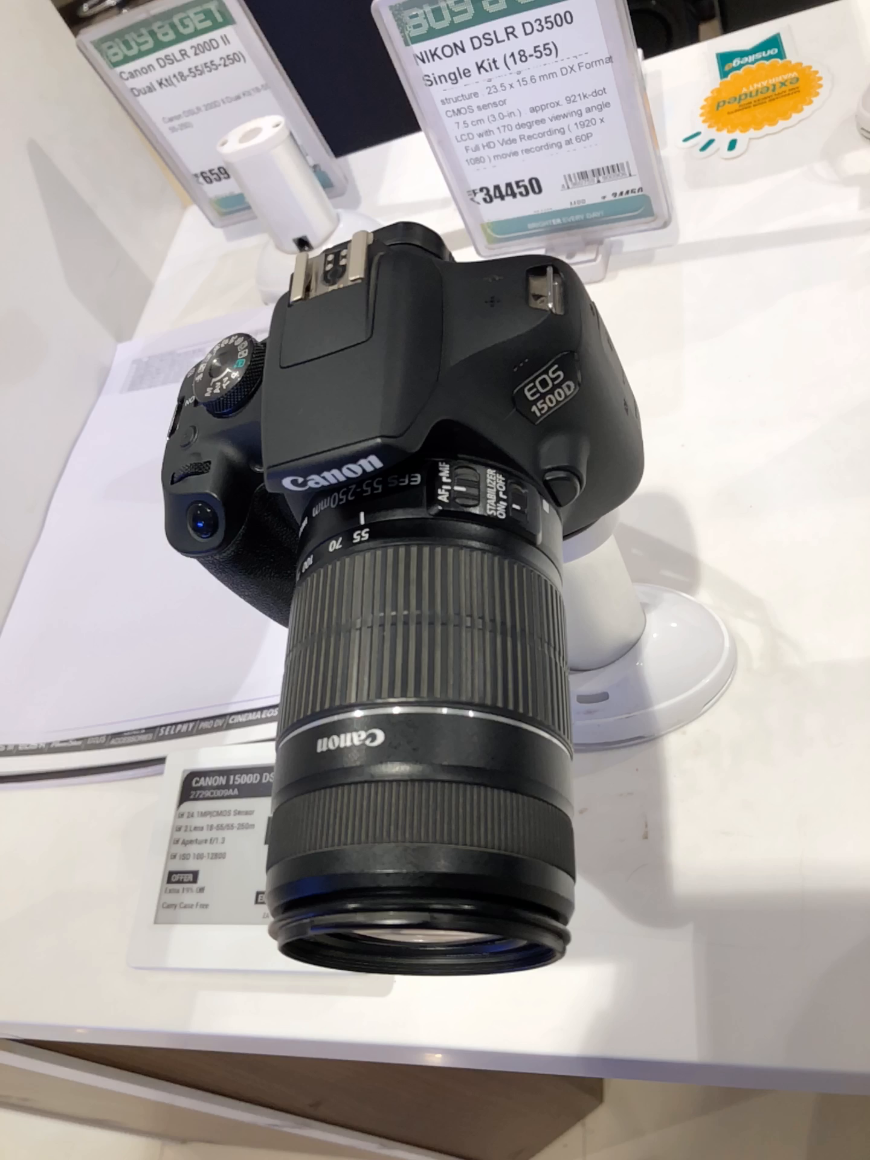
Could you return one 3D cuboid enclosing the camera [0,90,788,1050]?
[{"bbox_3d":[-0.010,-0.004,0.242,0.140,0.089,0.201,-13,52,18],"label":"camera"}]
